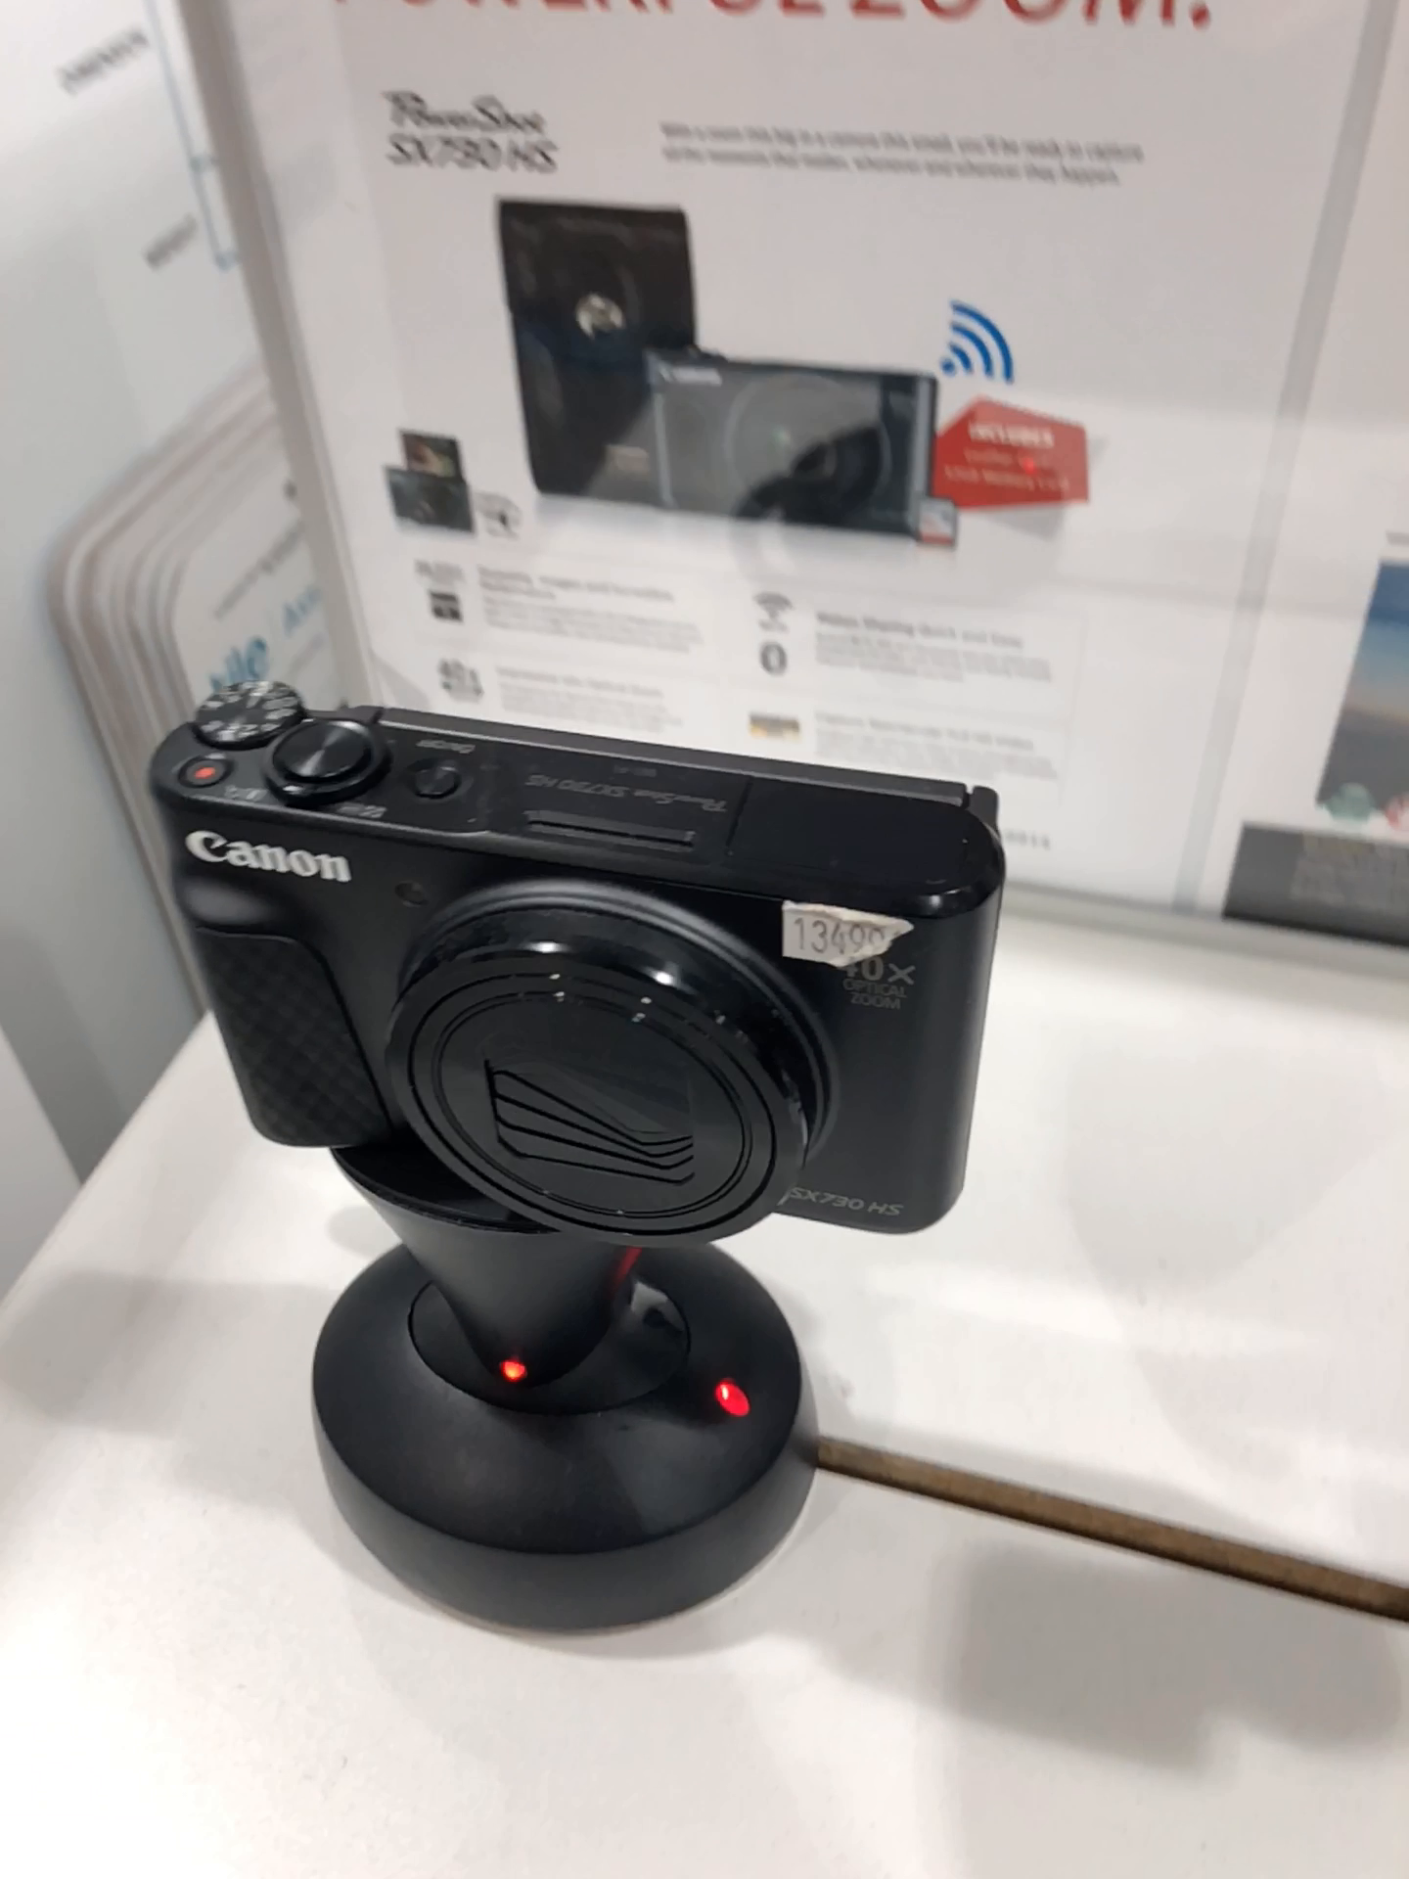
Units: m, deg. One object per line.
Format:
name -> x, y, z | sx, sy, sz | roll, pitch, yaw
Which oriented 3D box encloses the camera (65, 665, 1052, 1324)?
camera -> -0.015, 0.006, 0.207 | 0.110, 0.060, 0.040 | 8, 44, 13
